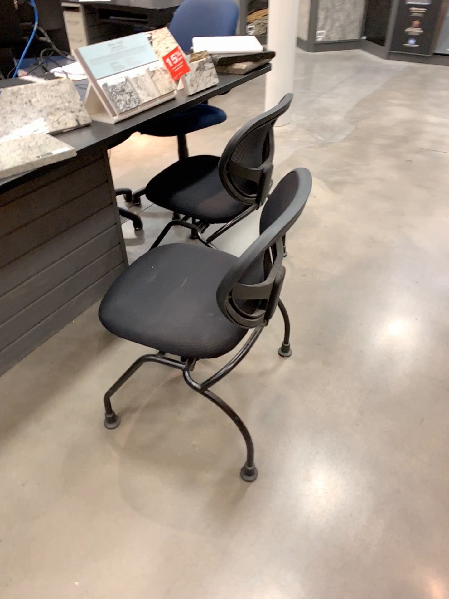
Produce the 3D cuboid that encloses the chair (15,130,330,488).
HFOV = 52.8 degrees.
[{"bbox_3d":[-0.071,0.008,1.366,0.595,0.777,0.607,11,40,14],"label":"chair"}]

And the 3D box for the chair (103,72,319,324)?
[{"bbox_3d":[-0.026,-0.454,1.936,0.585,0.777,0.596,19,43,23],"label":"chair"}]
